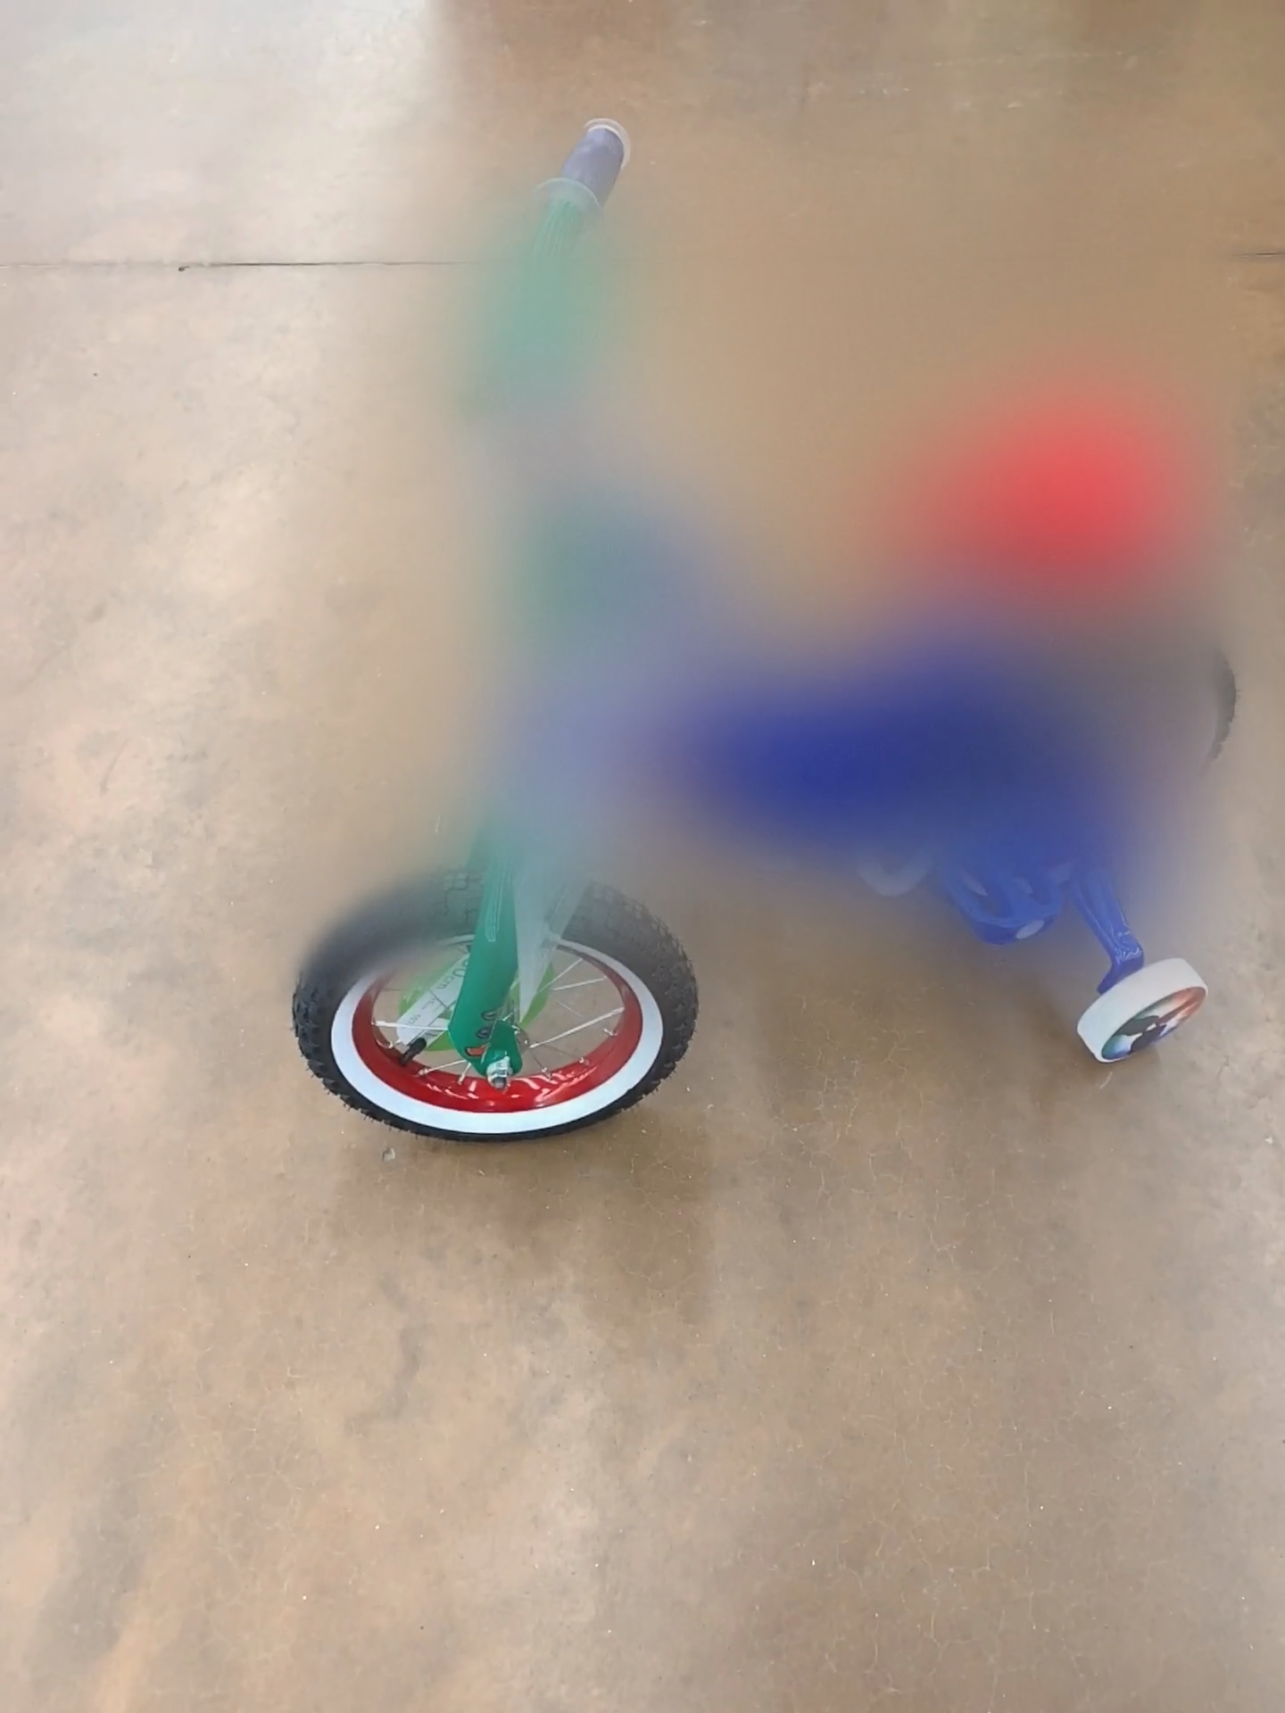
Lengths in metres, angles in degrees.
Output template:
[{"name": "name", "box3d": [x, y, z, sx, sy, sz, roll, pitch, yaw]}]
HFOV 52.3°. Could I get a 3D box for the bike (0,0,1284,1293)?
[{"name": "bike", "box3d": [0.109, -0.143, 0.934, 0.794, 0.695, 0.466, -18, 56, -10]}]
